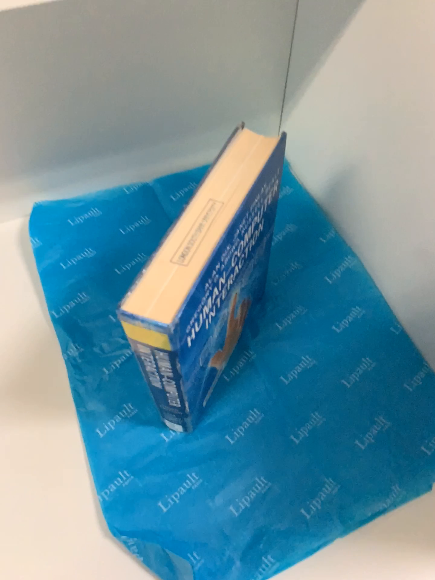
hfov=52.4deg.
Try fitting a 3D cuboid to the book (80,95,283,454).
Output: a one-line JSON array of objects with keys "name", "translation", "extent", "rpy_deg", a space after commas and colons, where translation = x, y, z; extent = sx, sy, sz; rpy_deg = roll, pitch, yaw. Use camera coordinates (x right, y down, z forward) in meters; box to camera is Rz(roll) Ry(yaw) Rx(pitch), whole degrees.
[{"name": "book", "translation": [-0.013, 0.004, 0.410], "extent": [0.050, 0.258, 0.221], "rpy_deg": [19, 58, 12]}]
